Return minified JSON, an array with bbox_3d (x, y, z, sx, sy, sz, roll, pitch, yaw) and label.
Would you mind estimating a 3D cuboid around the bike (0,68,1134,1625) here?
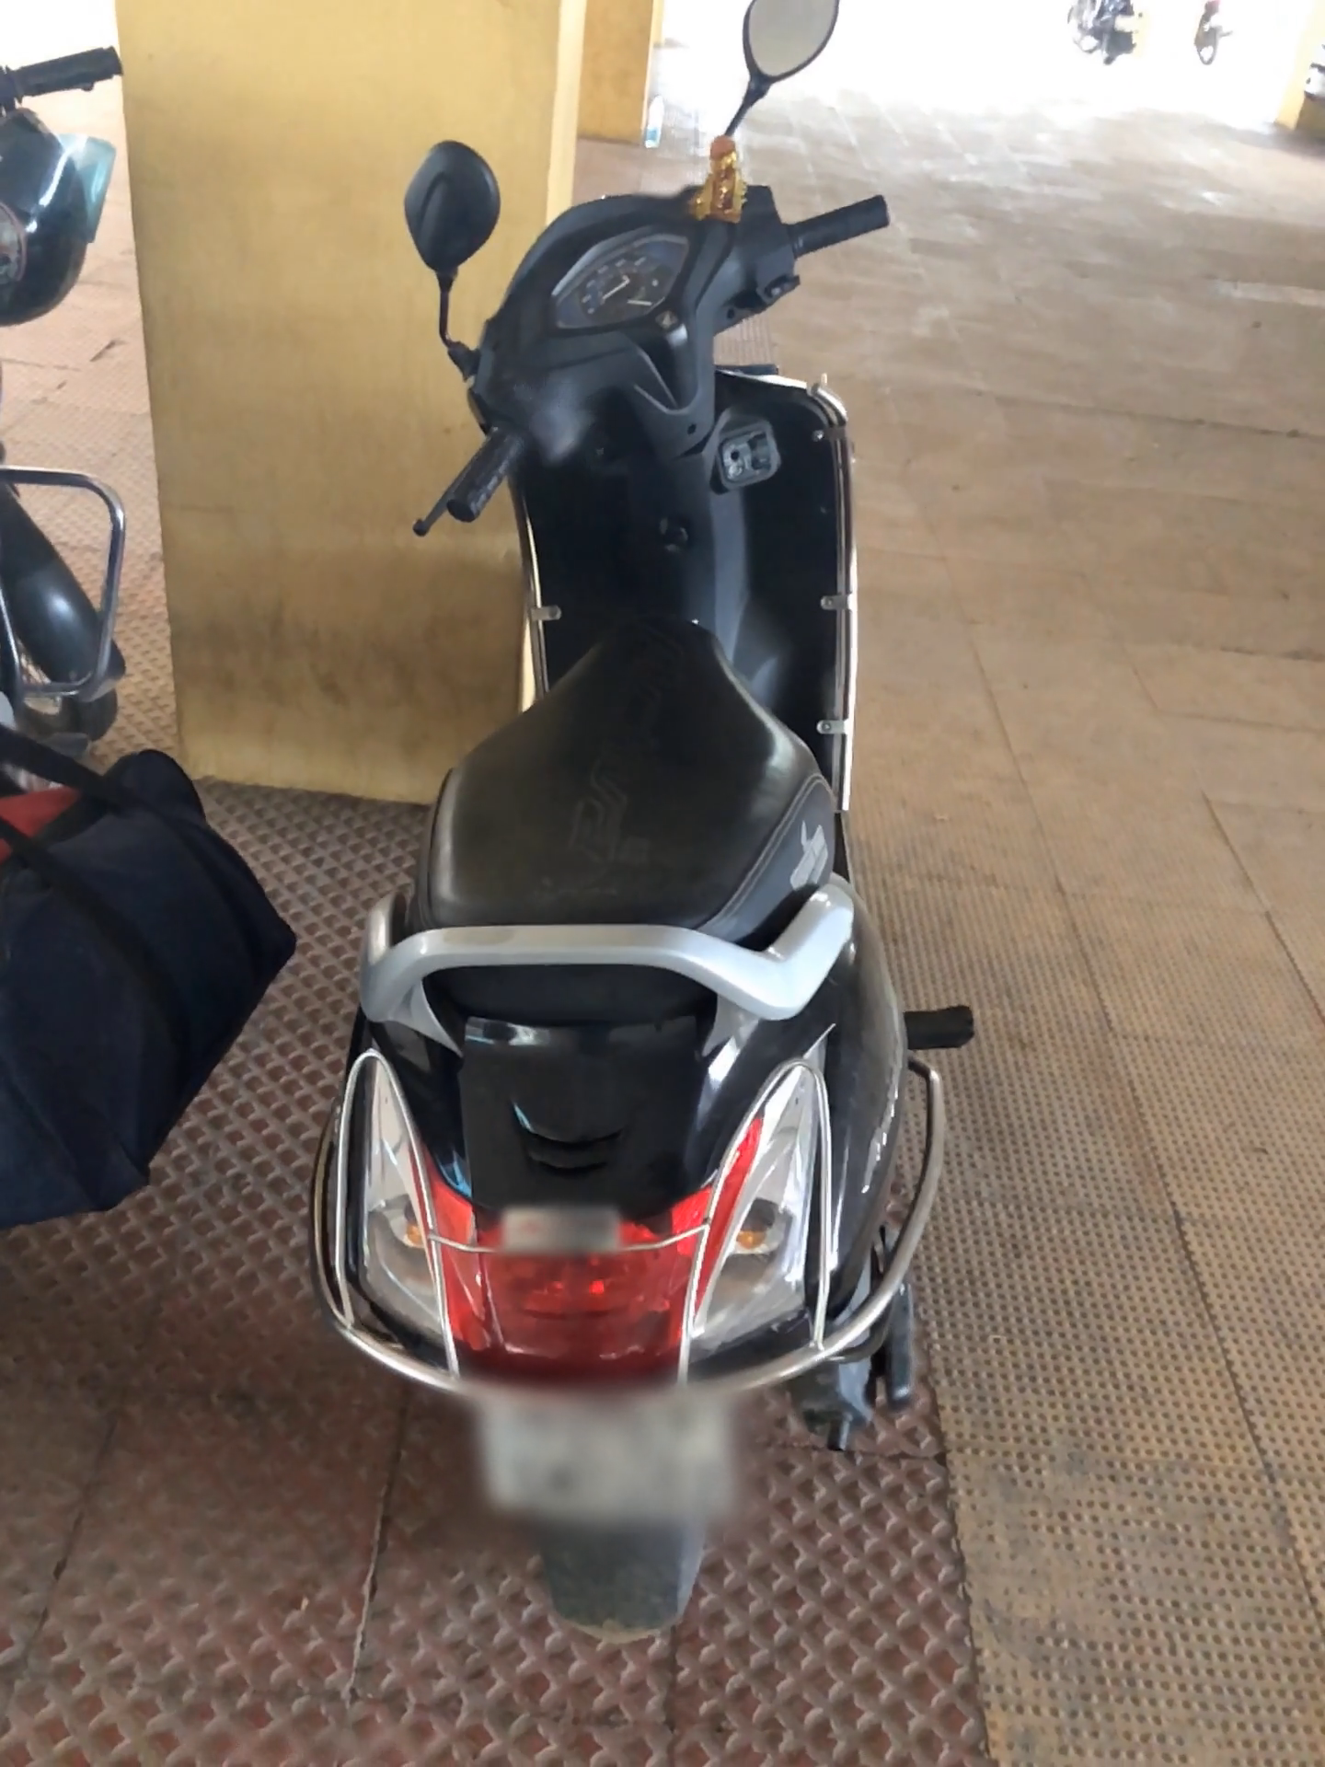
[{"bbox_3d":[-0.169,-0.261,1.635,0.621,0.882,1.668,4,36,-6],"label":"bike"}]
